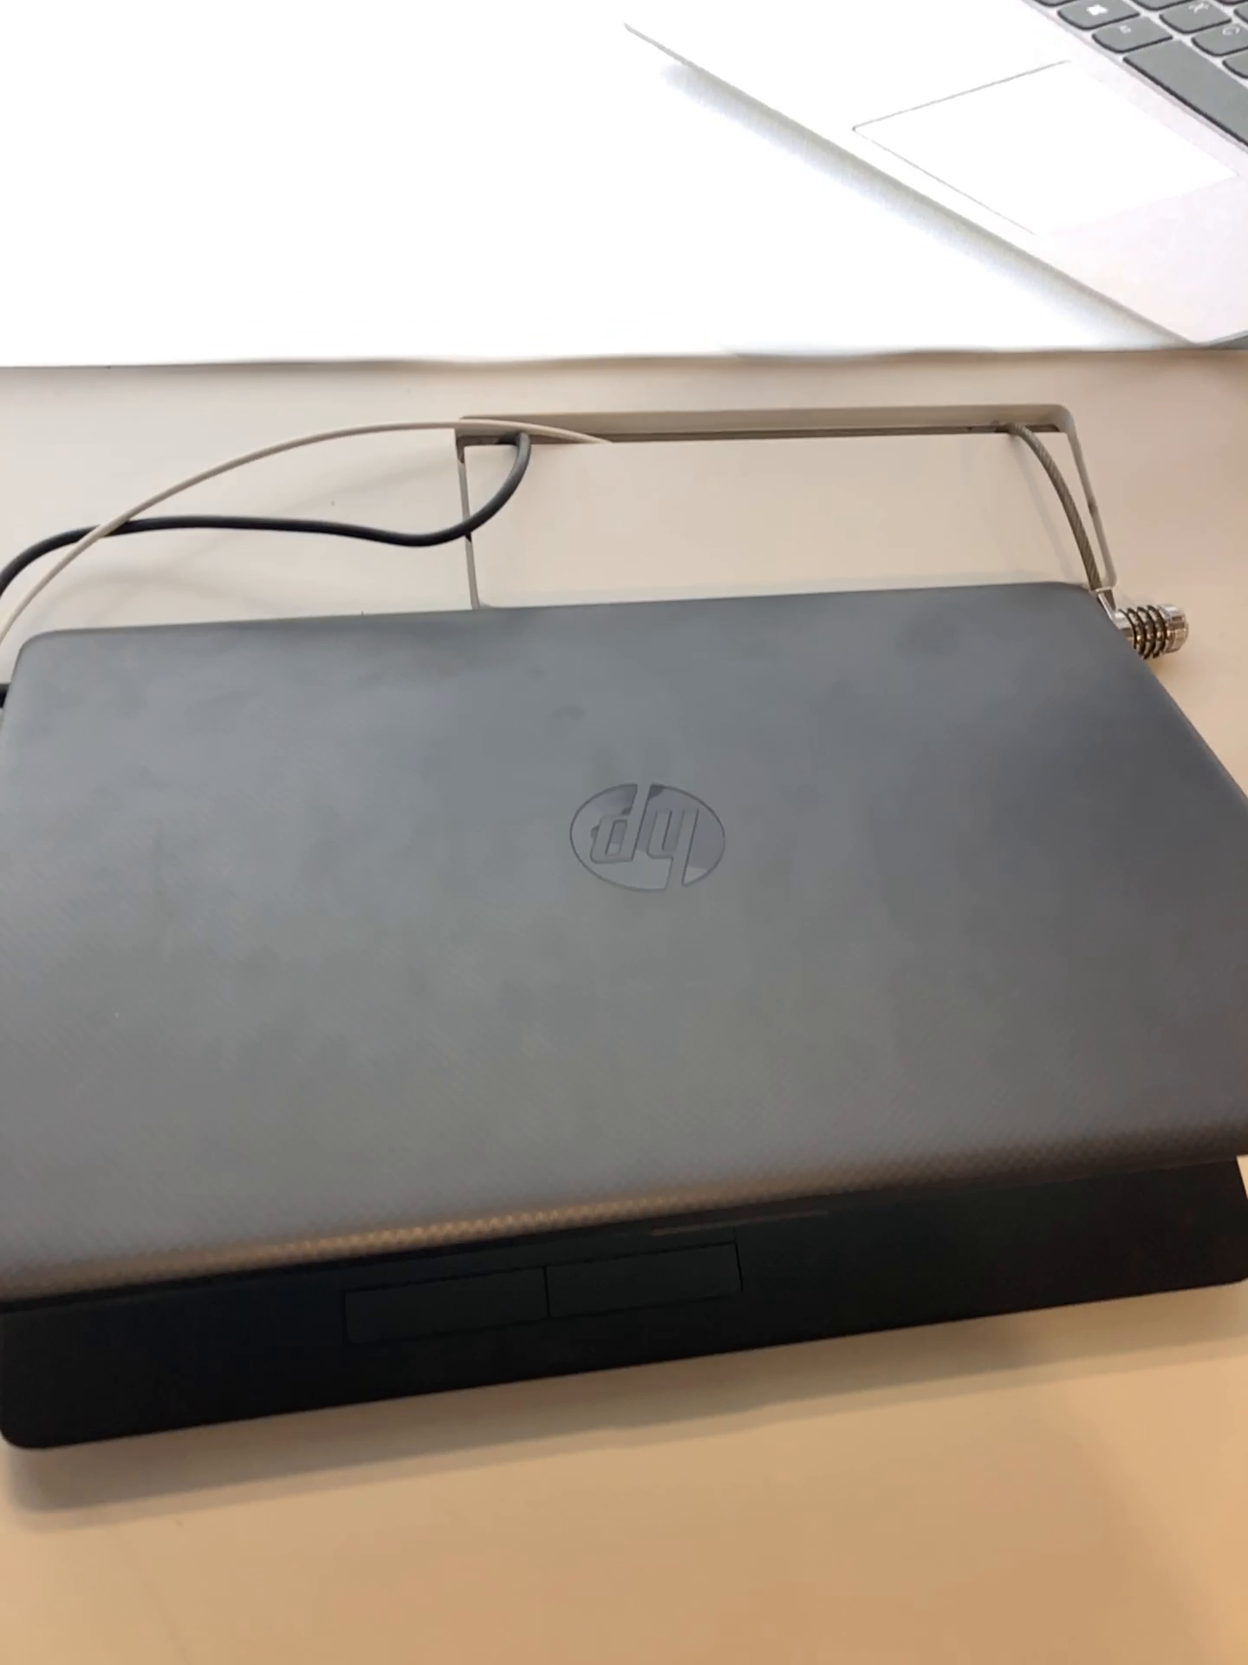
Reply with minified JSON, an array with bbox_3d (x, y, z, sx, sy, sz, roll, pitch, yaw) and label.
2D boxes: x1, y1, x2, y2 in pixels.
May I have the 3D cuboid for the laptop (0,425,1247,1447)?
[{"bbox_3d":[-0.001,0.020,0.389,0.351,0.107,0.238,-4,69,-8],"label":"laptop"}]
